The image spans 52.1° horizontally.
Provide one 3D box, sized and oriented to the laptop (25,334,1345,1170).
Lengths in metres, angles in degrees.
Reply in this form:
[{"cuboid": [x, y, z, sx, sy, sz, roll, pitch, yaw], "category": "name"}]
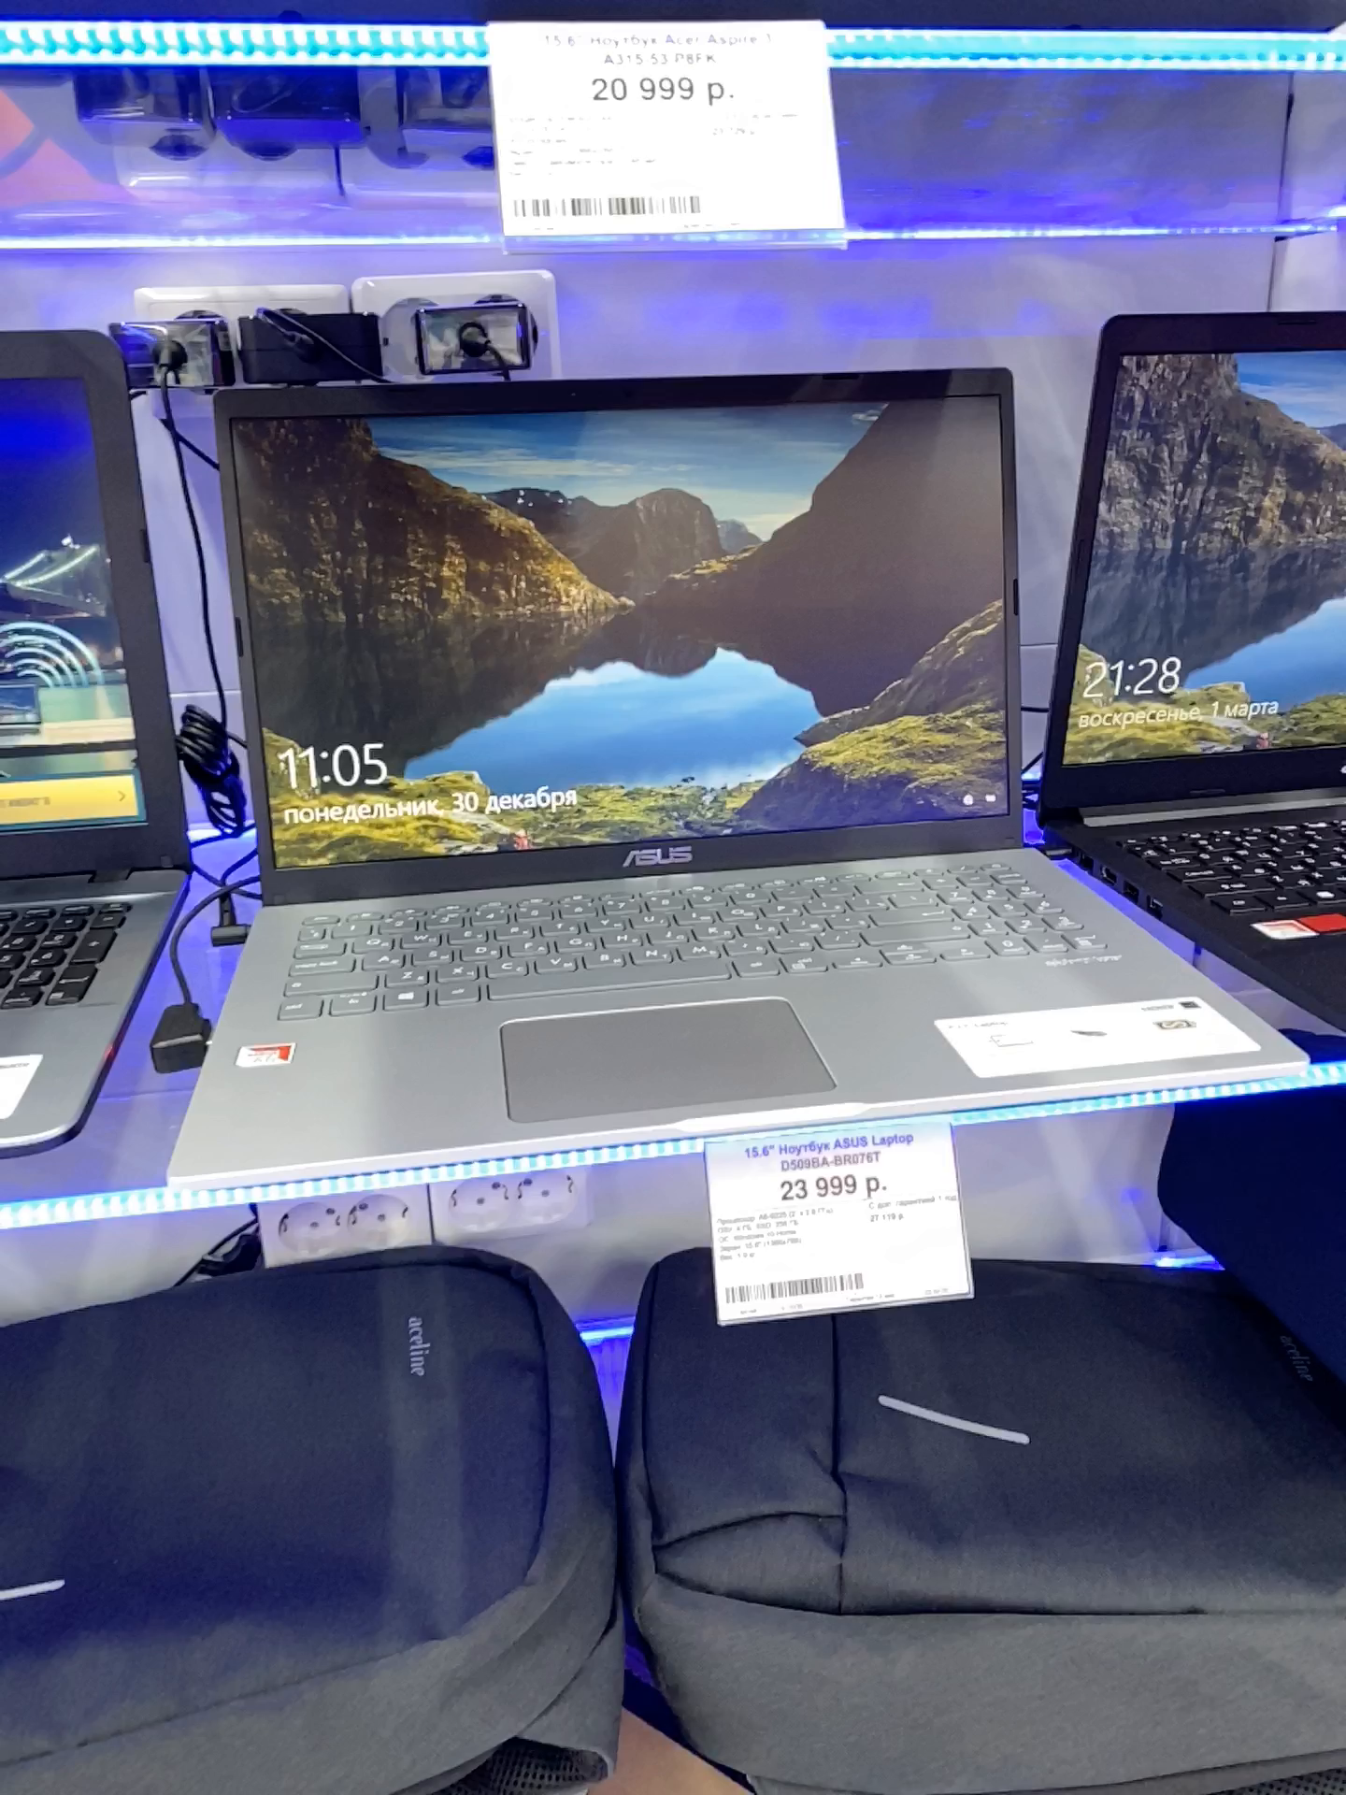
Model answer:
[{"cuboid": [0.005, -0.083, 0.521, 0.360, 0.216, 0.286, -4, 19, -8], "category": "laptop"}]
